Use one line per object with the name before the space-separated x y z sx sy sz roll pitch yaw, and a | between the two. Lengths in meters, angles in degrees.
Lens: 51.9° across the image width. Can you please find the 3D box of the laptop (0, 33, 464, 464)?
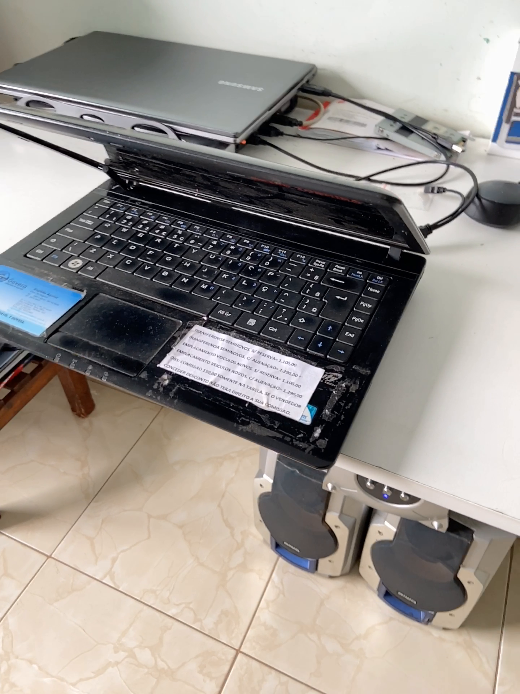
laptop | -0.062 -0.106 0.394 0.335 0.144 0.228 19 47 20
